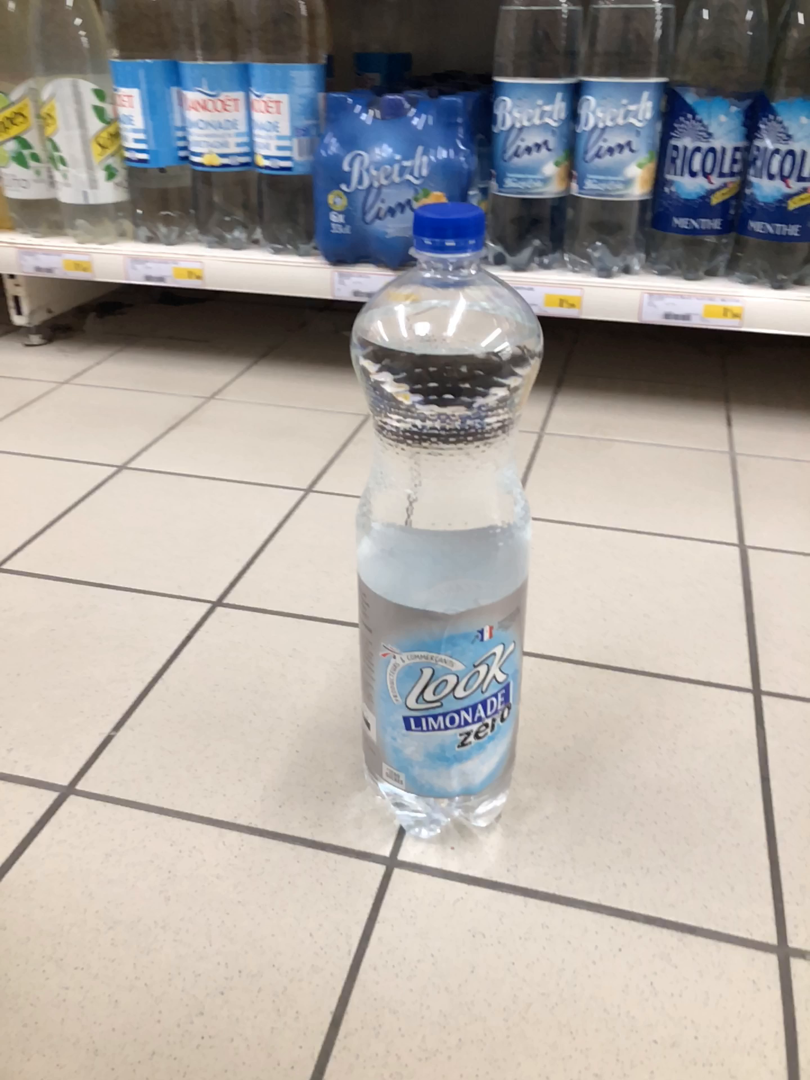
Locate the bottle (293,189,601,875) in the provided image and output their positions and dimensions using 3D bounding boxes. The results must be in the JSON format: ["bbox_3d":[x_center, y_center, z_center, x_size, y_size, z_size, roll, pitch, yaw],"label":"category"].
[{"bbox_3d":[0.013,0.005,0.454,0.100,0.328,0.100,0,29,0],"label":"bottle"}]
